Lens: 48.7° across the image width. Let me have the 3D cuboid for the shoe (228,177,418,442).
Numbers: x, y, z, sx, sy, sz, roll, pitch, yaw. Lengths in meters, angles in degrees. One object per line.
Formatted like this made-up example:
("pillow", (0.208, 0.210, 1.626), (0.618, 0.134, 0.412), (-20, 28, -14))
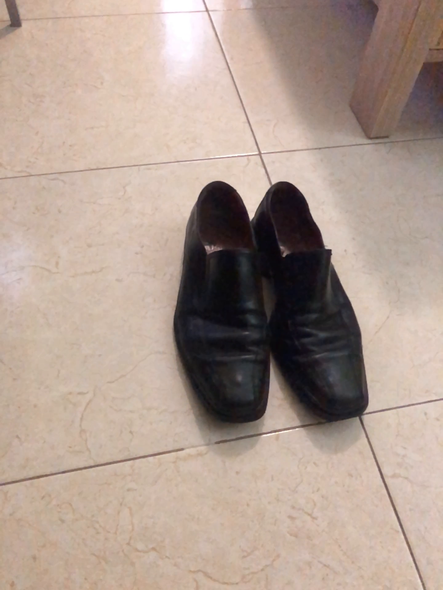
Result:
("shoe", (0.103, 0.002, 0.598), (0.120, 0.090, 0.311), (-8, 57, -9))

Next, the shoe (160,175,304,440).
("shoe", (-0.002, 0.000, 0.585), (0.120, 0.090, 0.311), (-4, 56, -7))
